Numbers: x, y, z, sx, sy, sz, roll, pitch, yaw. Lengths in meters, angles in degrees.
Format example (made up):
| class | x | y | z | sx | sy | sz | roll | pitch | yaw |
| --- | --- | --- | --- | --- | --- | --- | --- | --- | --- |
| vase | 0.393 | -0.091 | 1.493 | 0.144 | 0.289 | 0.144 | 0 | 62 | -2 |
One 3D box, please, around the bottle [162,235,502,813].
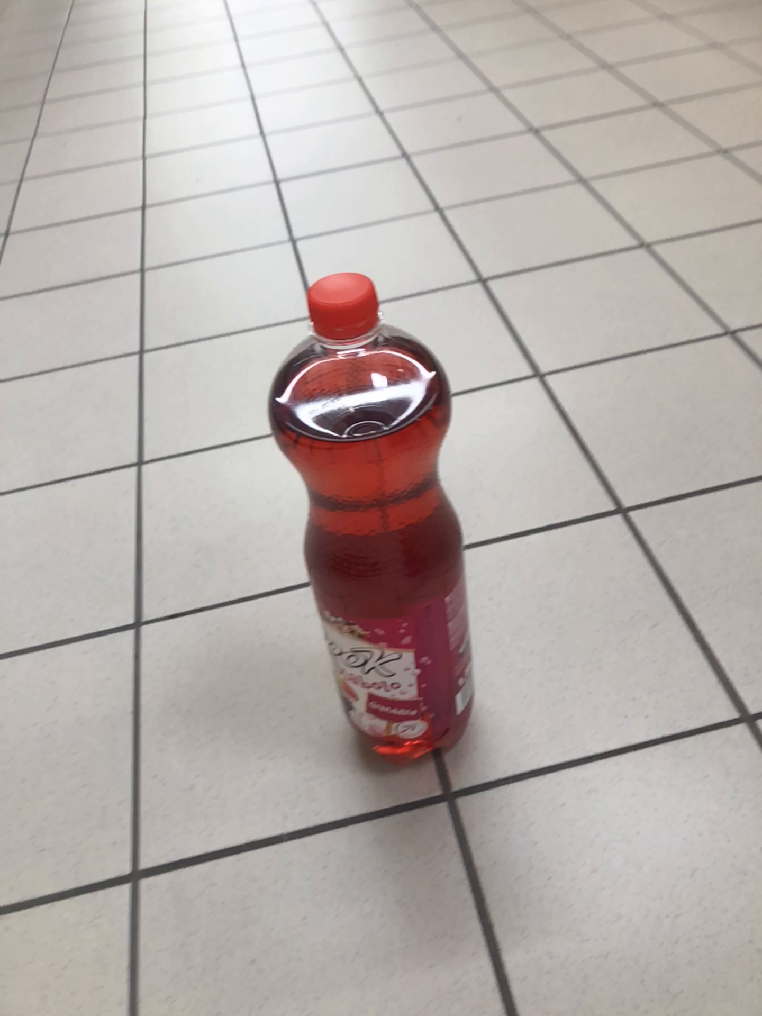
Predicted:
| class | x | y | z | sx | sy | sz | roll | pitch | yaw |
| --- | --- | --- | --- | --- | --- | --- | --- | --- | --- |
| bottle | -0.003 | 0.027 | 0.450 | 0.100 | 0.308 | 0.101 | -5 | 43 | 5 |
